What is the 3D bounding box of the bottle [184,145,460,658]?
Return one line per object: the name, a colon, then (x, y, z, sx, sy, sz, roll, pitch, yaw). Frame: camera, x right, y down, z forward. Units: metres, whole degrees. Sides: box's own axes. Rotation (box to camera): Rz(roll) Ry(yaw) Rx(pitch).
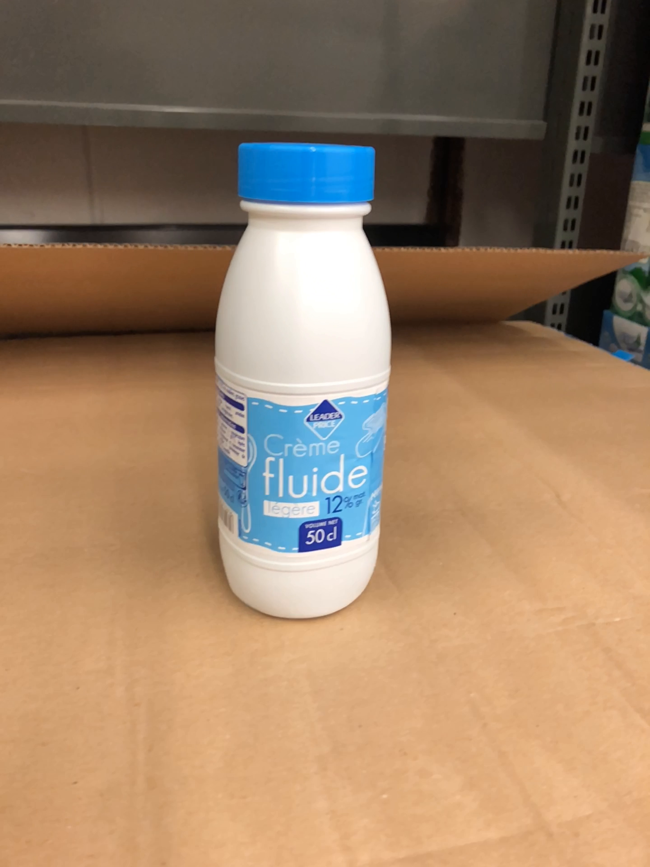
bottle: (-0.007, -0.017, 0.301, 0.080, 0.189, 0.080, 1, 21, 0)
